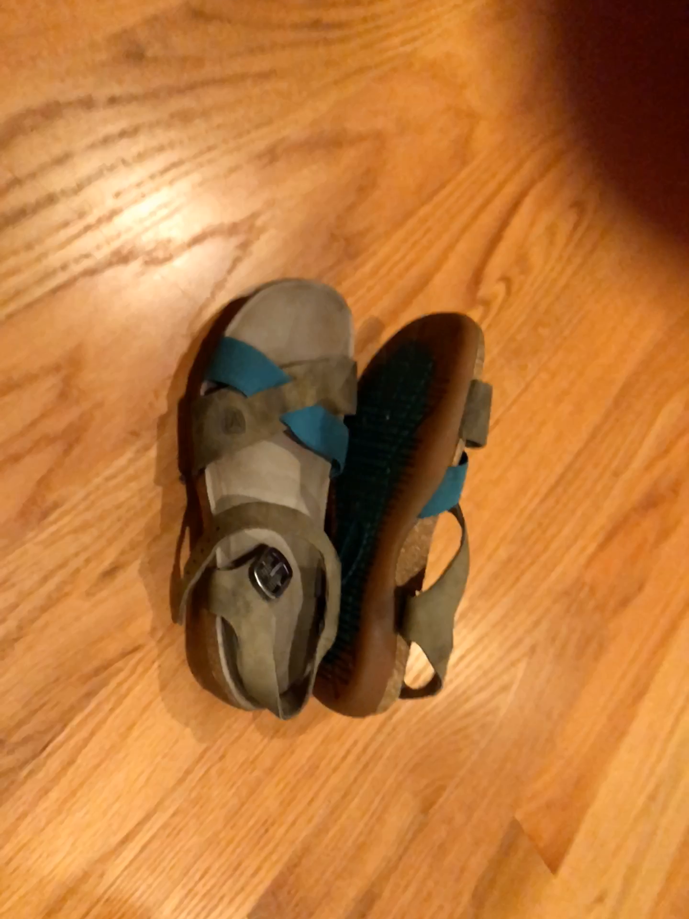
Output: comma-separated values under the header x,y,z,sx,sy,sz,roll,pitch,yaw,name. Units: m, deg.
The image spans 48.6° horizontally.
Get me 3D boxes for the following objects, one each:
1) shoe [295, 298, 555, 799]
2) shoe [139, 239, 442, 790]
x,y,z,sx,sy,sz,roll,pitch,yaw,name
0.043,0.043,0.423,0.065,0.104,0.238,11,83,-39,shoe
-0.025,0.027,0.393,0.105,0.075,0.240,11,83,-39,shoe
